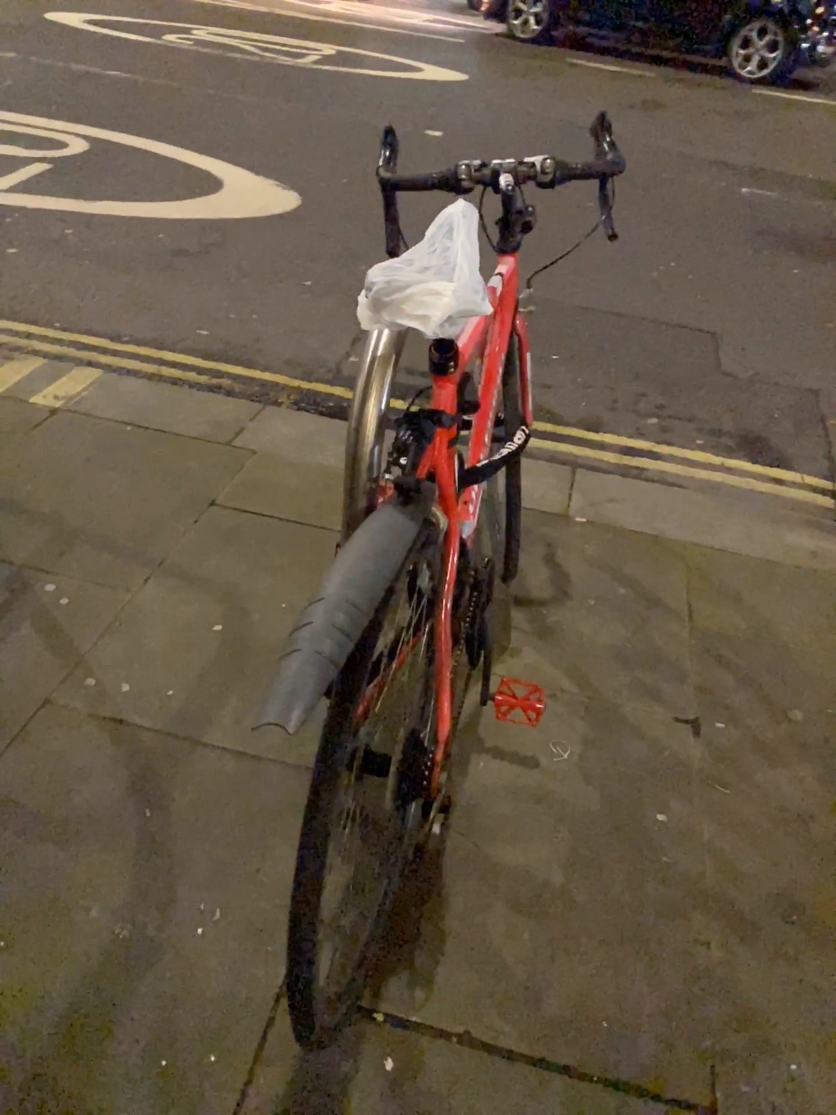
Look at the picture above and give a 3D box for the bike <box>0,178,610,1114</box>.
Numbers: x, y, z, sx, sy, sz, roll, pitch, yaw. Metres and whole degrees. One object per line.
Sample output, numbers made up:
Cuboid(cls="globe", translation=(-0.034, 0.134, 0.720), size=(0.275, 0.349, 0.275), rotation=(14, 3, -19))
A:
Cuboid(cls="bike", translation=(-0.002, -0.070, 1.578), size=(0.536, 0.809, 1.670), rotation=(10, 36, 6))
